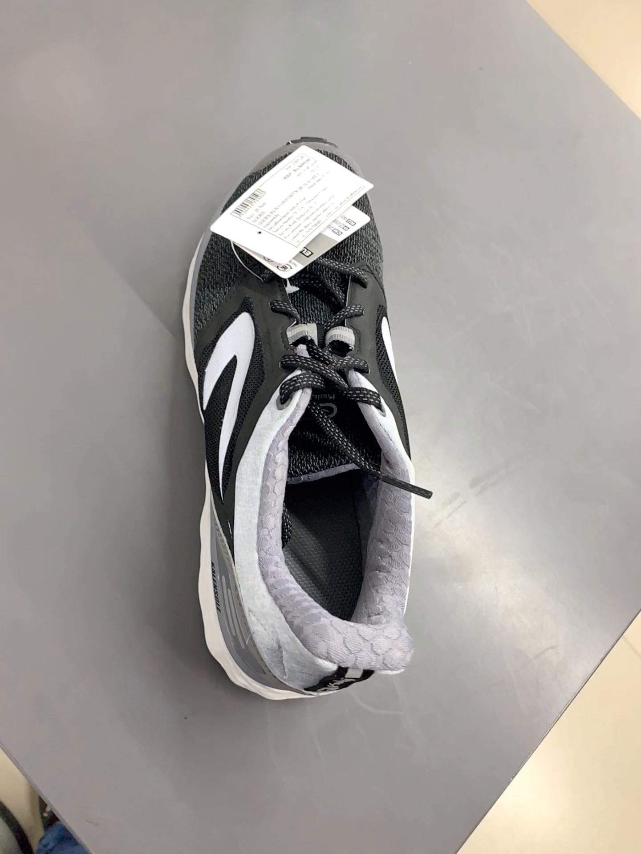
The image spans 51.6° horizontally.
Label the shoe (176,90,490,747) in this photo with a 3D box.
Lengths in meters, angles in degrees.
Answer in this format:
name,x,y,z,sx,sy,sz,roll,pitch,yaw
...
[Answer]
name,x,y,z,sx,sy,sz,roll,pitch,yaw
shoe,-0.007,-0.006,0.285,0.100,0.090,0.240,2,73,-14
